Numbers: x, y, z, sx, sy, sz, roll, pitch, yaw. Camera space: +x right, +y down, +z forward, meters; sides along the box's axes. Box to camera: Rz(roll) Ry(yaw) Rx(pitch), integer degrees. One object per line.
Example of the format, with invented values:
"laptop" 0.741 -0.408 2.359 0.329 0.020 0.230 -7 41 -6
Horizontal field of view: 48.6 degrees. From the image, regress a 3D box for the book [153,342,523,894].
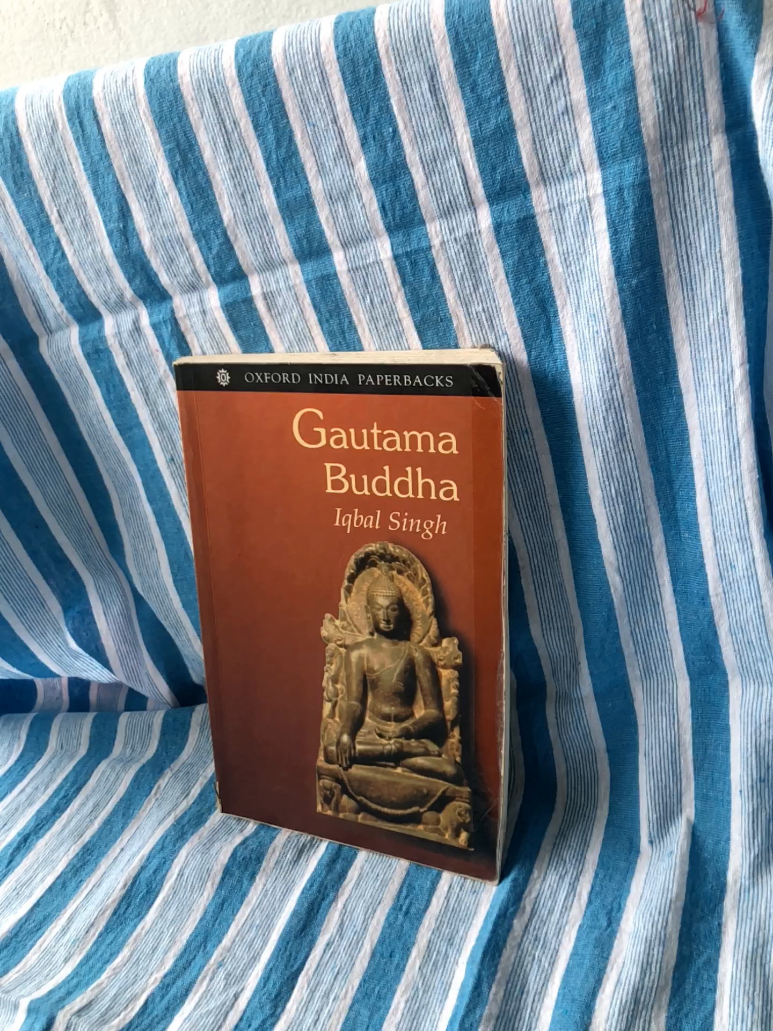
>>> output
"book" -0.018 0.037 0.359 0.140 0.209 0.040 4 15 26
